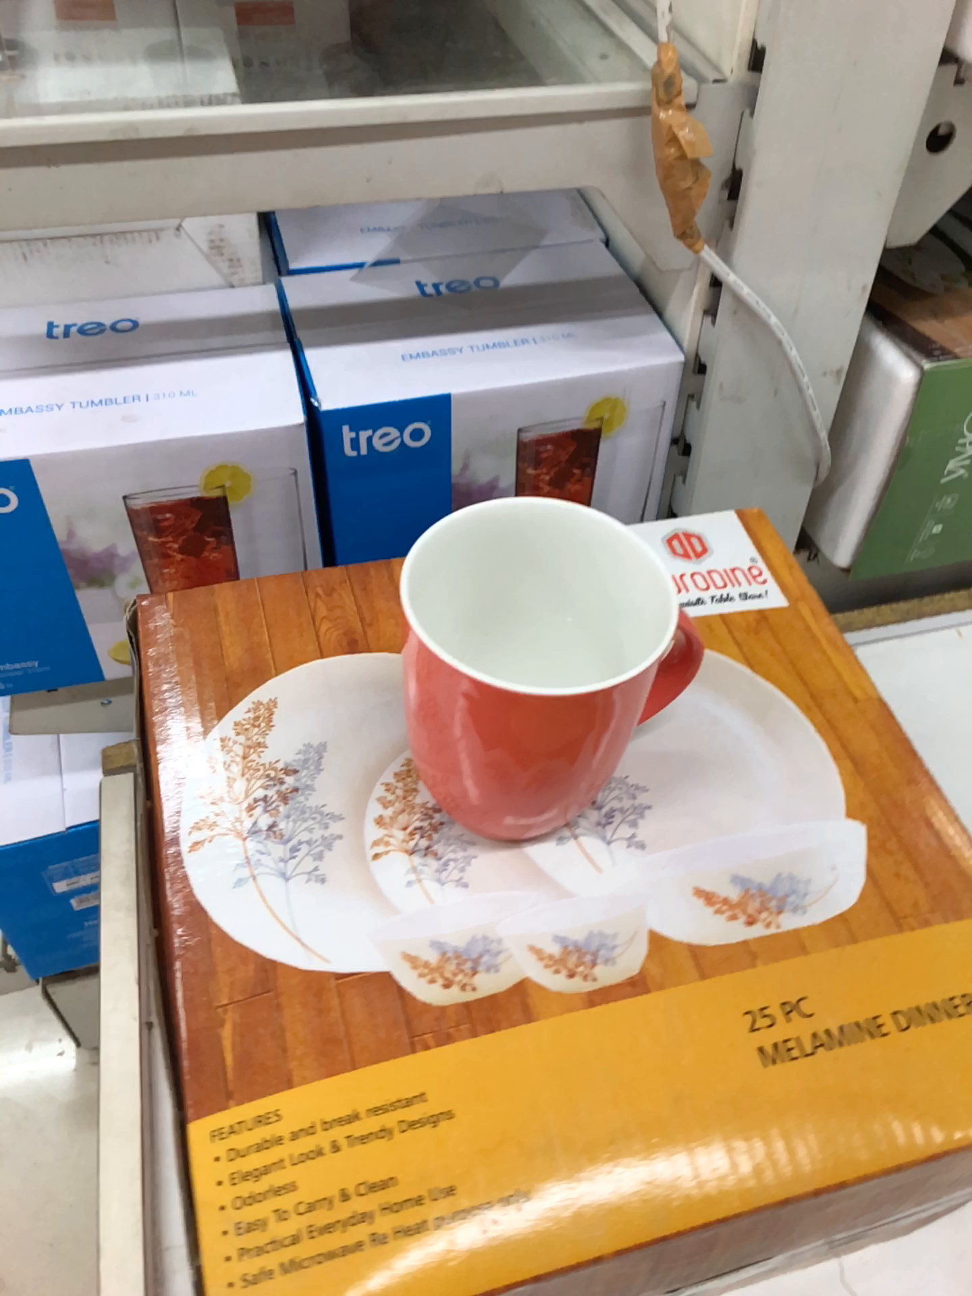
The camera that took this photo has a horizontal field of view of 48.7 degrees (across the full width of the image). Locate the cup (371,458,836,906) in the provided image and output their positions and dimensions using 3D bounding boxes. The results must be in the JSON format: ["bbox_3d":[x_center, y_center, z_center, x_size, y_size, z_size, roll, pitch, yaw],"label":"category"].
[{"bbox_3d":[0.030,0.011,0.361,0.120,0.099,0.090,-8,47,-9],"label":"cup"}]
